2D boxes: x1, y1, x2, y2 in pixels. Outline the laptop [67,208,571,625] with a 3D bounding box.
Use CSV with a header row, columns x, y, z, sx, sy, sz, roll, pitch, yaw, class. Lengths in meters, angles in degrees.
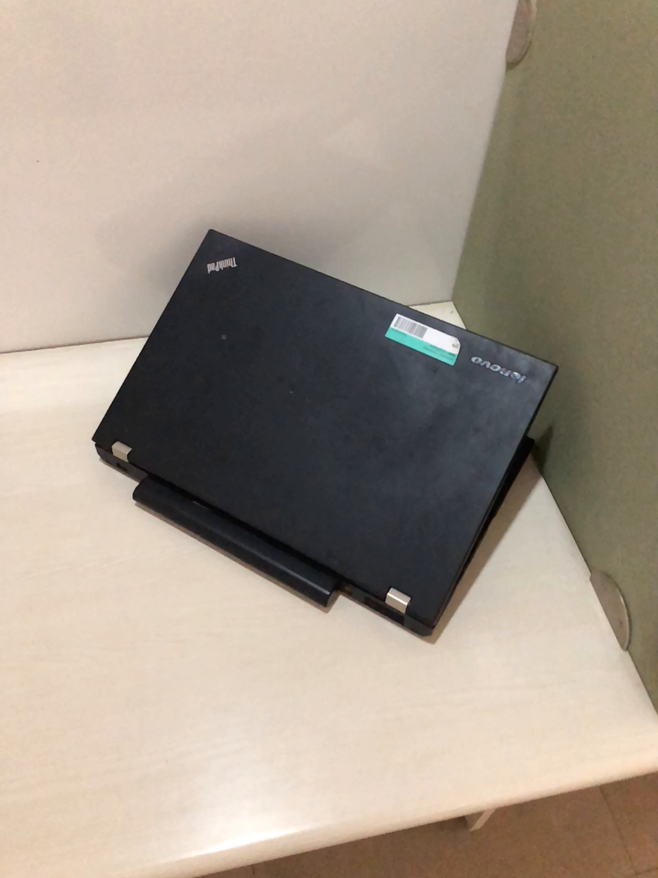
x,y,z,sx,sy,sz,roll,pitch,yaw,class
-0.010,-0.040,0.663,0.354,0.140,0.233,25,55,19,laptop
